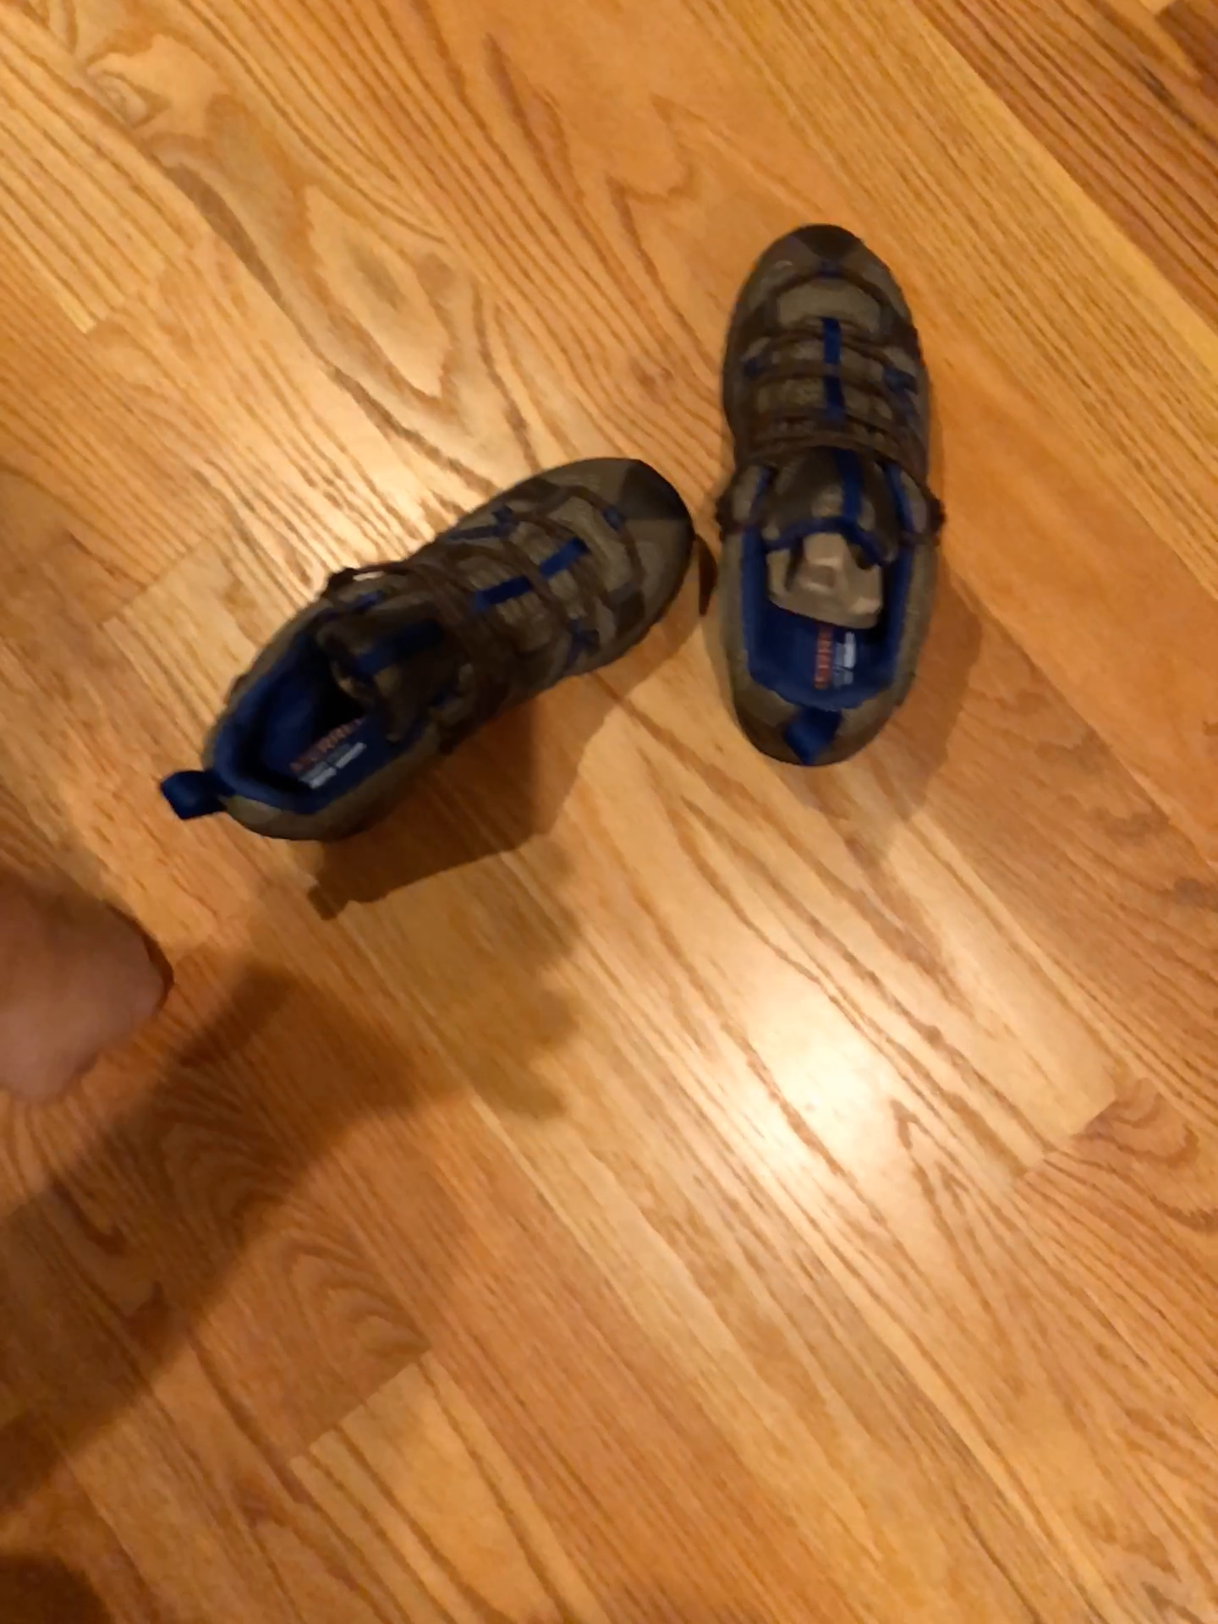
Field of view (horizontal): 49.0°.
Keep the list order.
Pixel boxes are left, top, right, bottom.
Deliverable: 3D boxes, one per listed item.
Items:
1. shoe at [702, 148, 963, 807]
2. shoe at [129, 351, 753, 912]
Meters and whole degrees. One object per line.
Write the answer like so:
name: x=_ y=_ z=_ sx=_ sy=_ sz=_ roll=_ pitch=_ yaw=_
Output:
shoe: x=0.090 y=-0.132 z=0.564 sx=0.097 sy=0.094 sz=0.251 roll=1 pitch=85 yaw=4
shoe: x=-0.064 y=-0.068 z=0.579 sx=0.240 sy=0.106 sz=0.094 roll=-38 pitch=84 yaw=0
